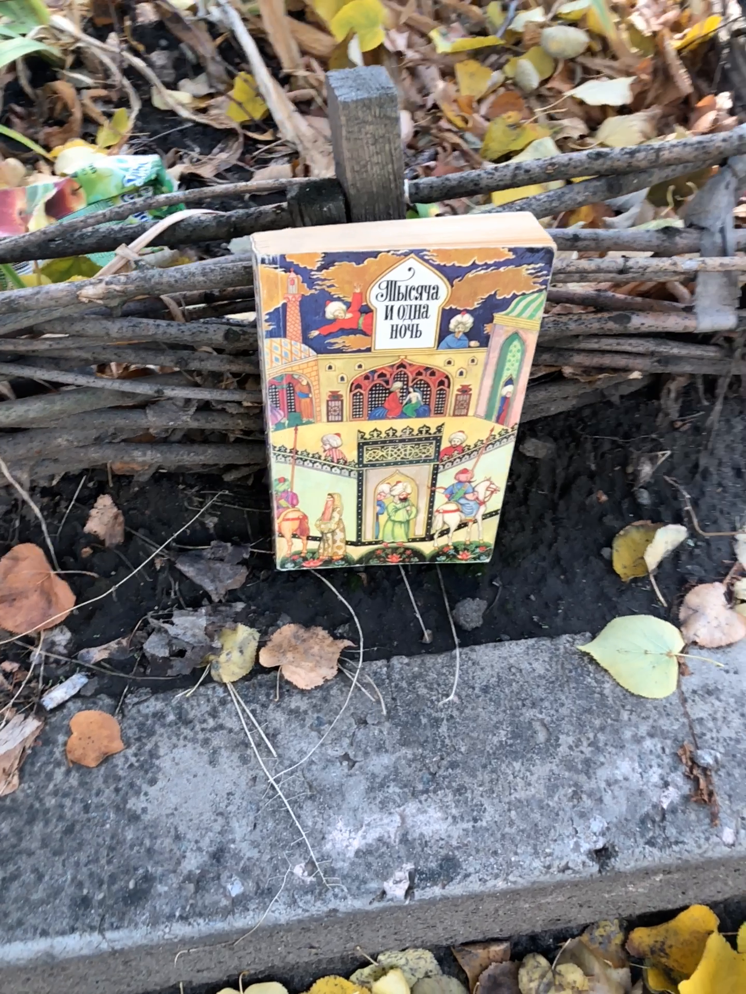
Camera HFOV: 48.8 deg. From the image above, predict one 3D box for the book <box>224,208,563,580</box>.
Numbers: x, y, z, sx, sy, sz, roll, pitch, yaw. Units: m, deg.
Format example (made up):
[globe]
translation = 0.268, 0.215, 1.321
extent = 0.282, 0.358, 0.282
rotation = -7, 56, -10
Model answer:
[book]
translation = 0.008, -0.035, 0.371
extent = 0.122, 0.182, 0.029
rotation = -2, 44, -2
